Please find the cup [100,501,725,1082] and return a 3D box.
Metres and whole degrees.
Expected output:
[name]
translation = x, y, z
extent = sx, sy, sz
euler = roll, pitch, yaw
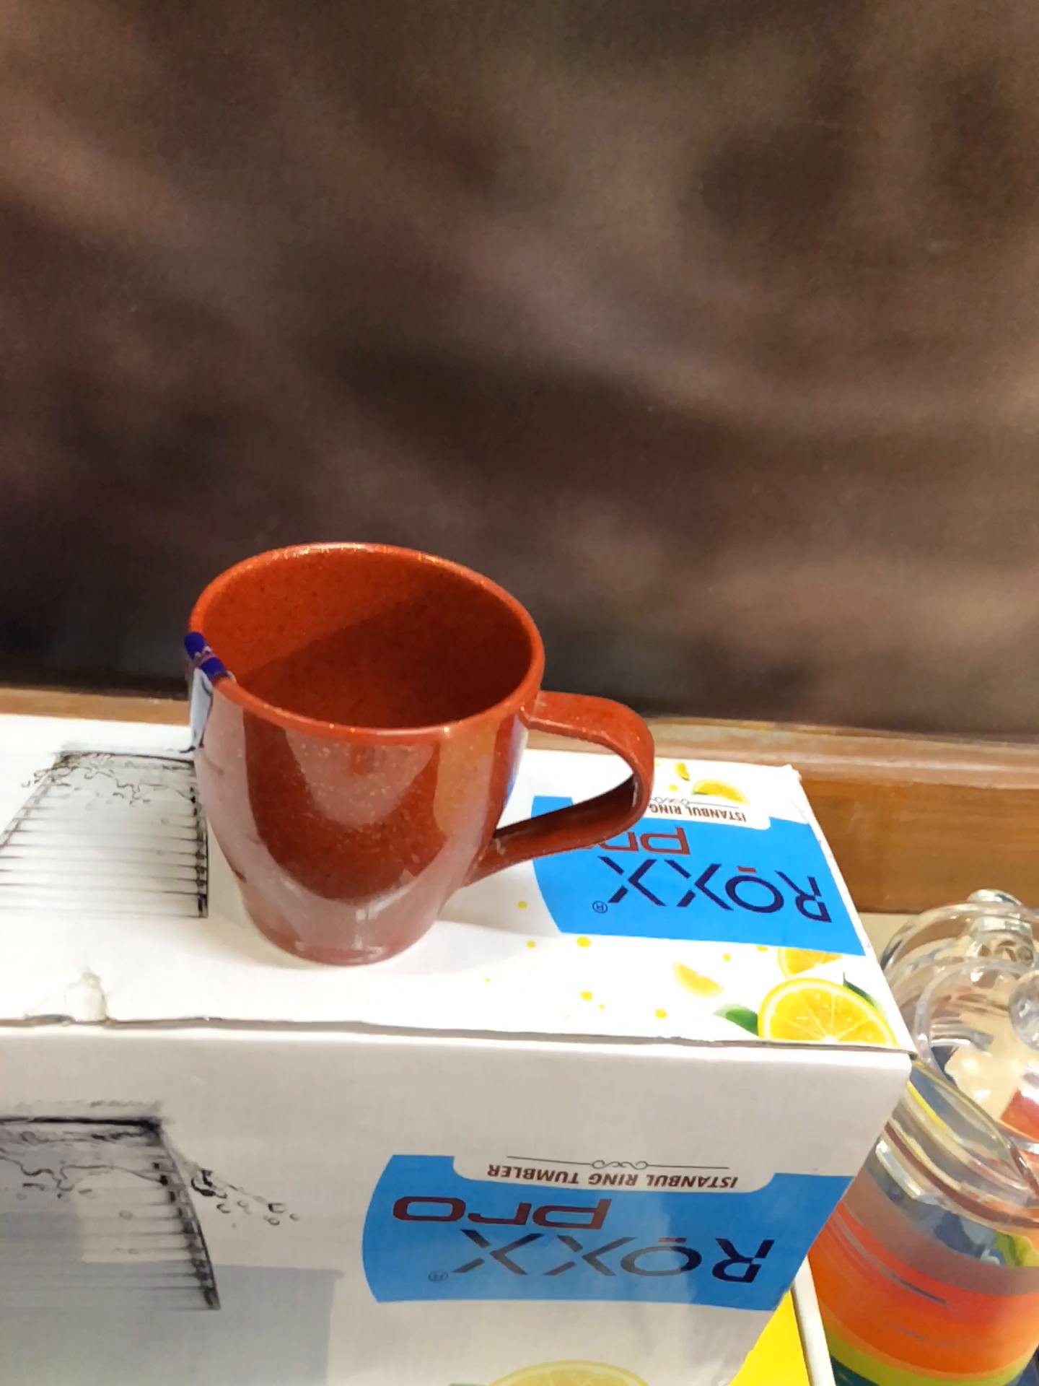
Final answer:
[cup]
translation = -0.016, 0.016, 0.230
extent = 0.100, 0.070, 0.070
euler = 10, 33, 4
